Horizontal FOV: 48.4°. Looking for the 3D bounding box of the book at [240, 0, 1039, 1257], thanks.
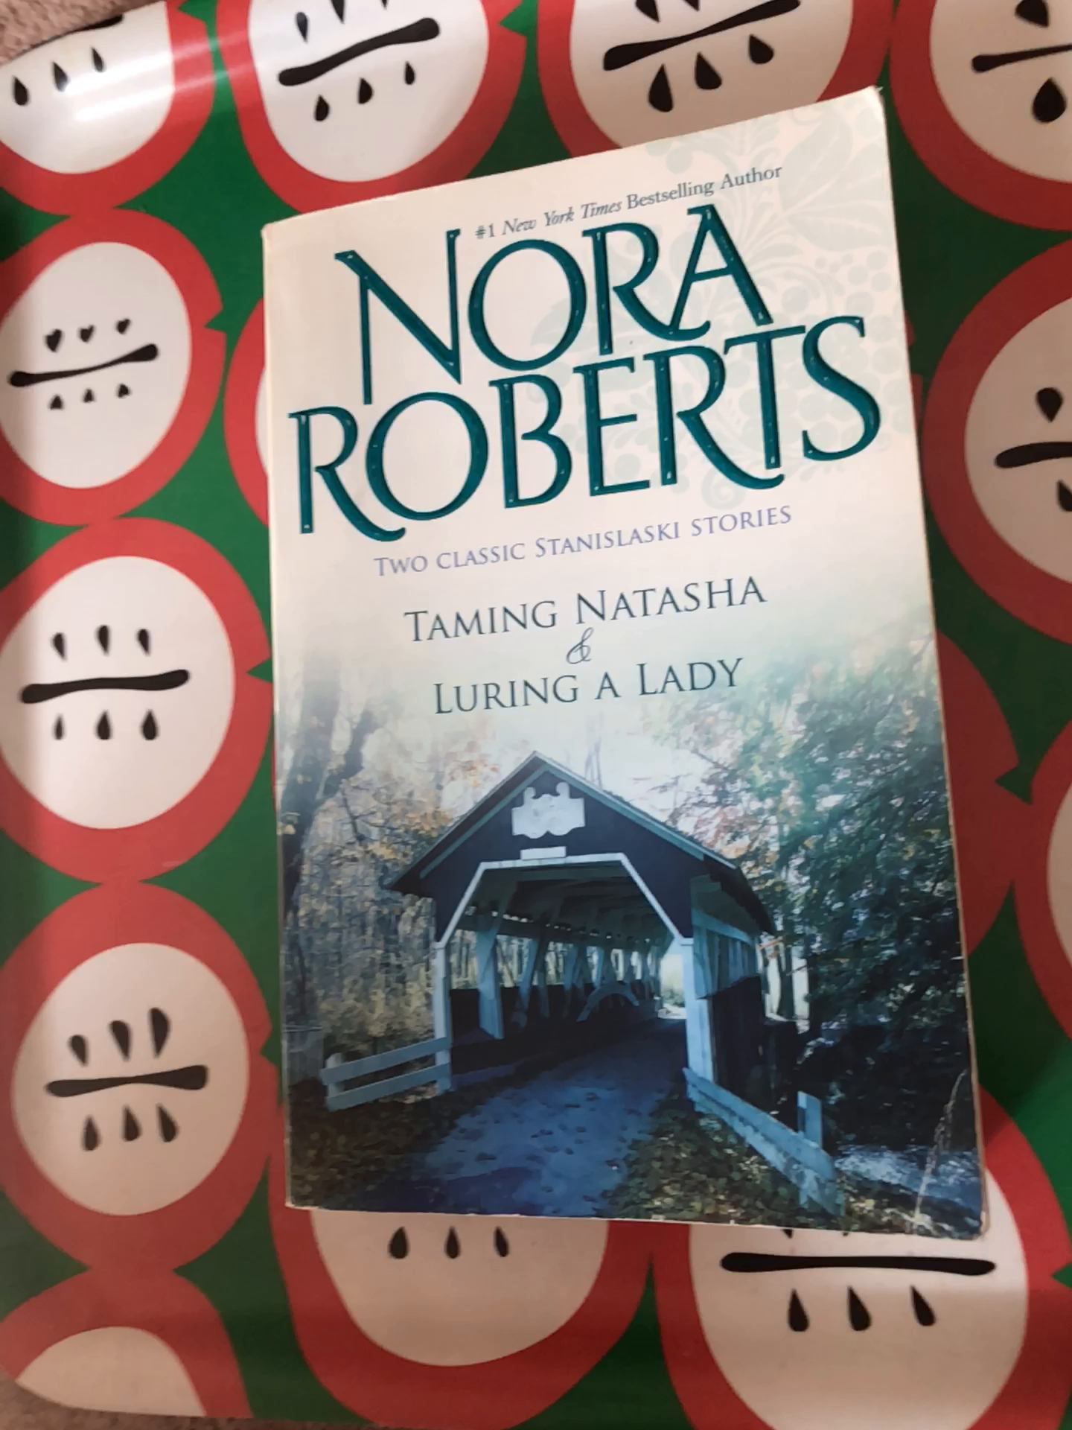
[{"bbox_3d":[0.015,-0.014,0.244,0.140,0.040,0.220,-5,84,17],"label":"book"}]
